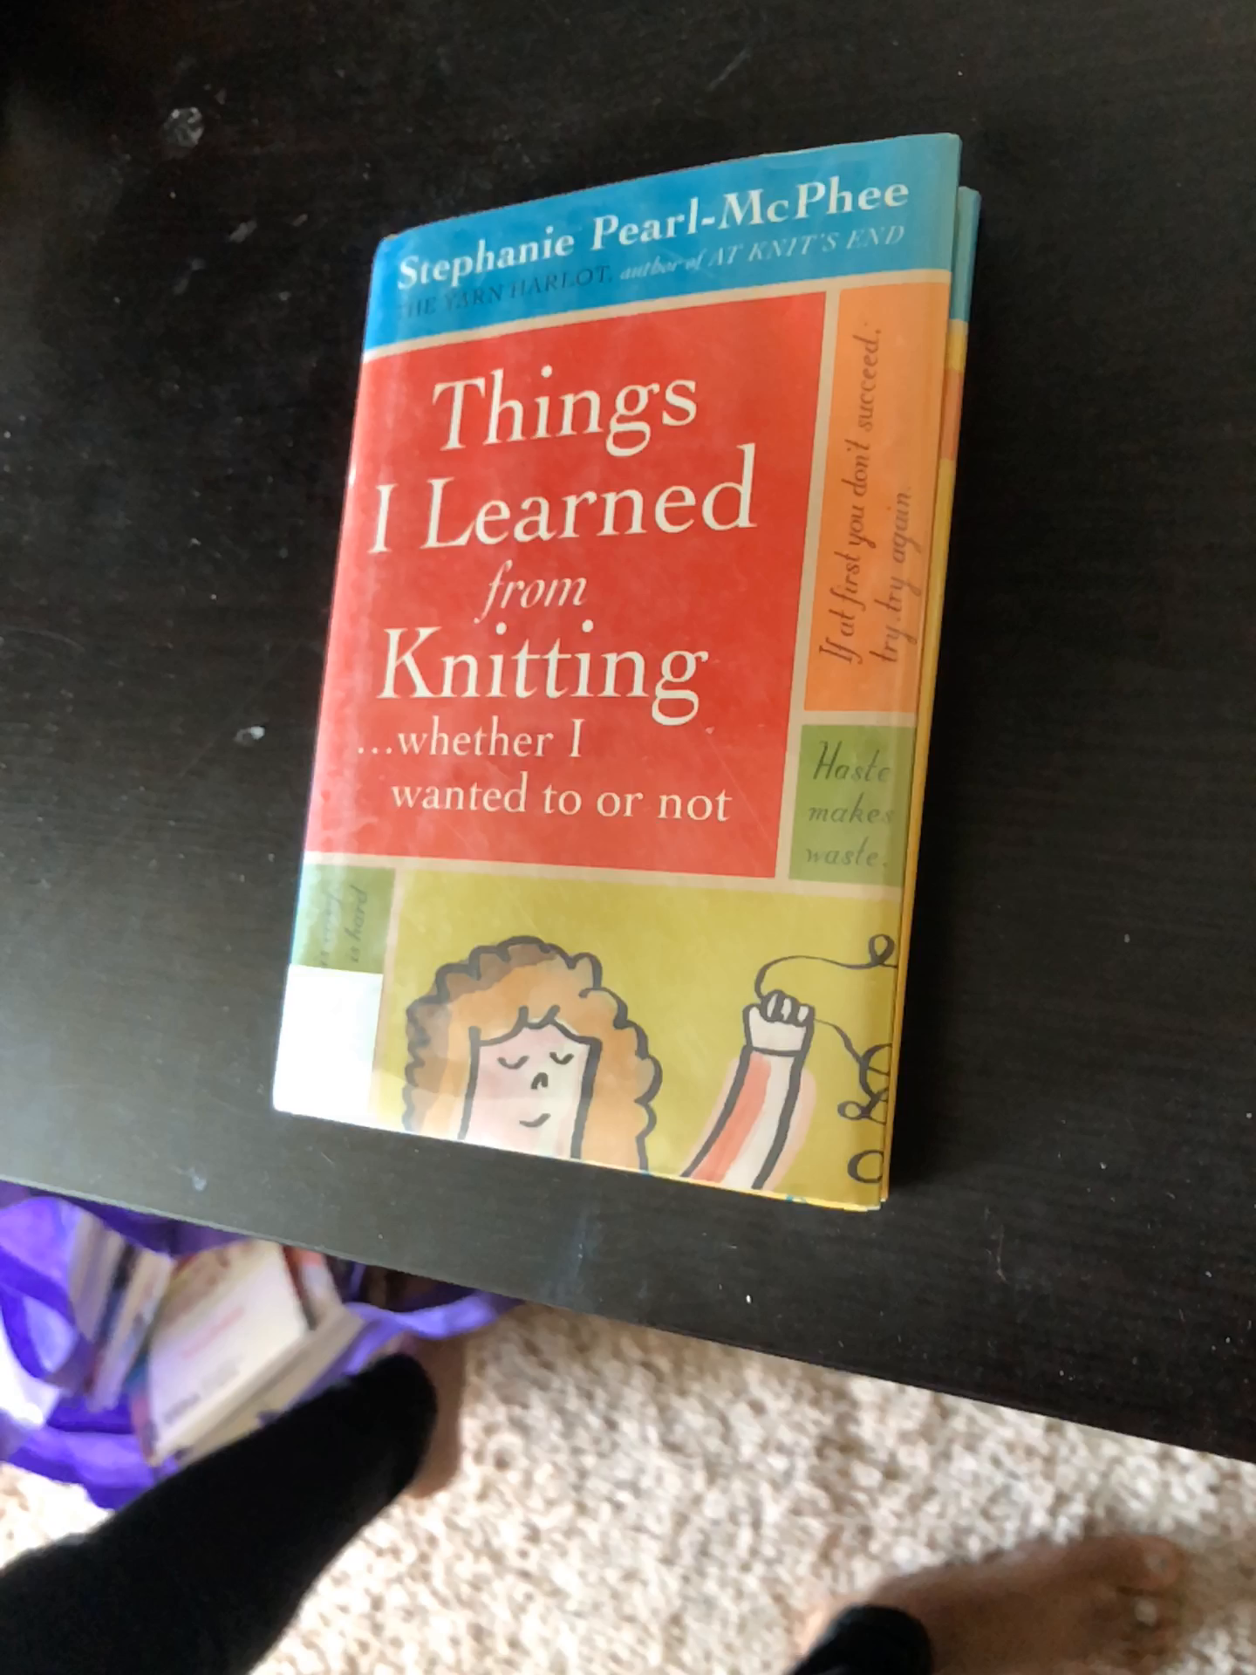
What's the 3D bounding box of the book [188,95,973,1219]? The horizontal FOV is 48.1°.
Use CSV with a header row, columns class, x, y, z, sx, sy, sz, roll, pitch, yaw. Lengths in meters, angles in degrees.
class,x,y,z,sx,sy,sz,roll,pitch,yaw
book,-0.010,-0.031,0.239,0.118,0.023,0.166,3,84,25
